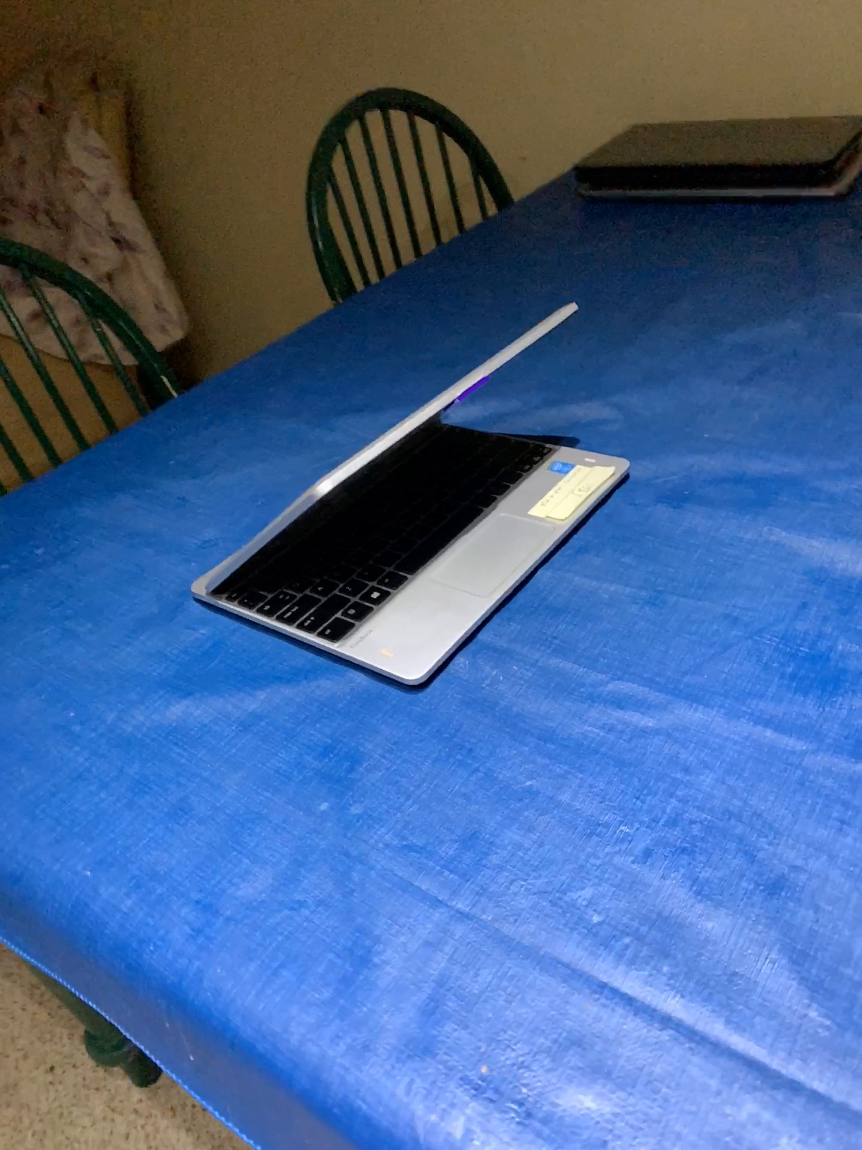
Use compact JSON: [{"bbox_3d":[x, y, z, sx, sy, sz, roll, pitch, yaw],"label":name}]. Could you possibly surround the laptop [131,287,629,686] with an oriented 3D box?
[{"bbox_3d":[-0.019,-0.087,0.620,0.208,0.122,0.281,17,43,35],"label":"laptop"}]
